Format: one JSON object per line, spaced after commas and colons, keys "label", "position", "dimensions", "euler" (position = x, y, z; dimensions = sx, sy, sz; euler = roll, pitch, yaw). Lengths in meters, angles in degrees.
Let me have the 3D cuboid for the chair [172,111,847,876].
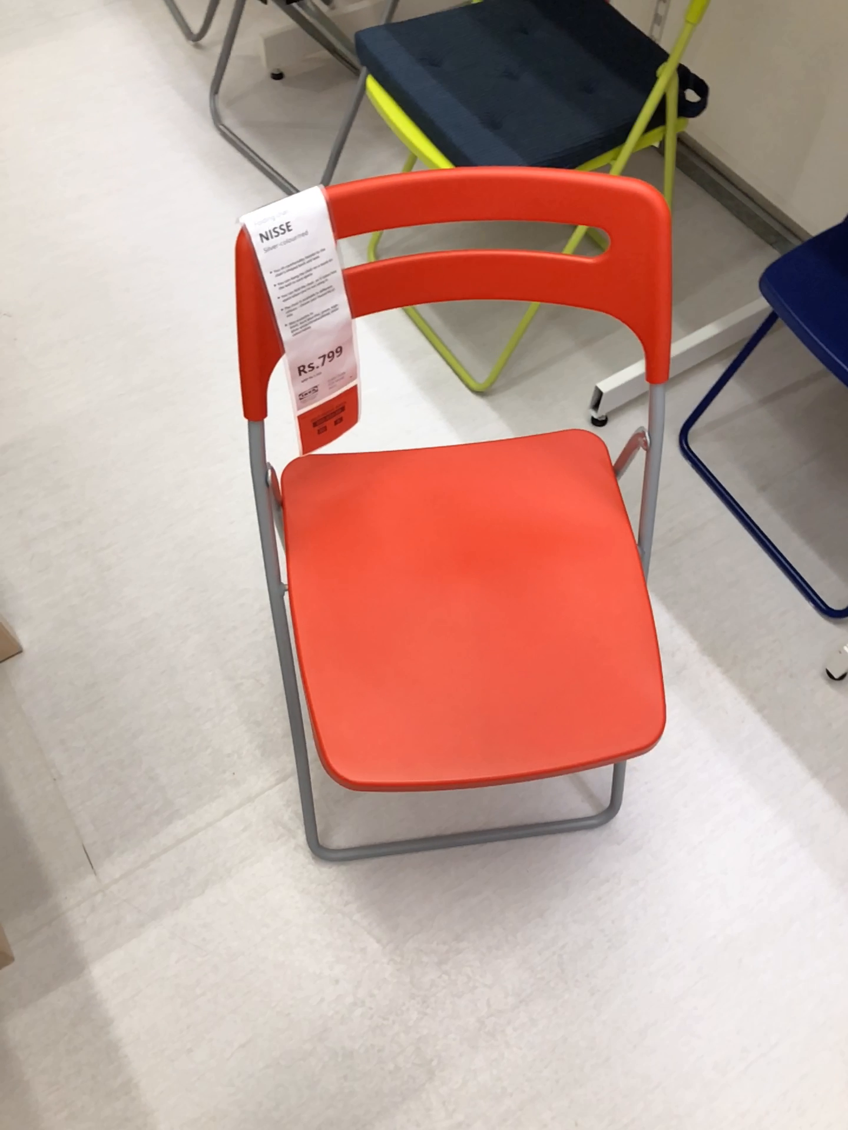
{"label": "chair", "position": [0.041, -0.004, 0.941], "dimensions": [0.440, 0.677, 0.422], "euler": [-6, 60, -5]}
